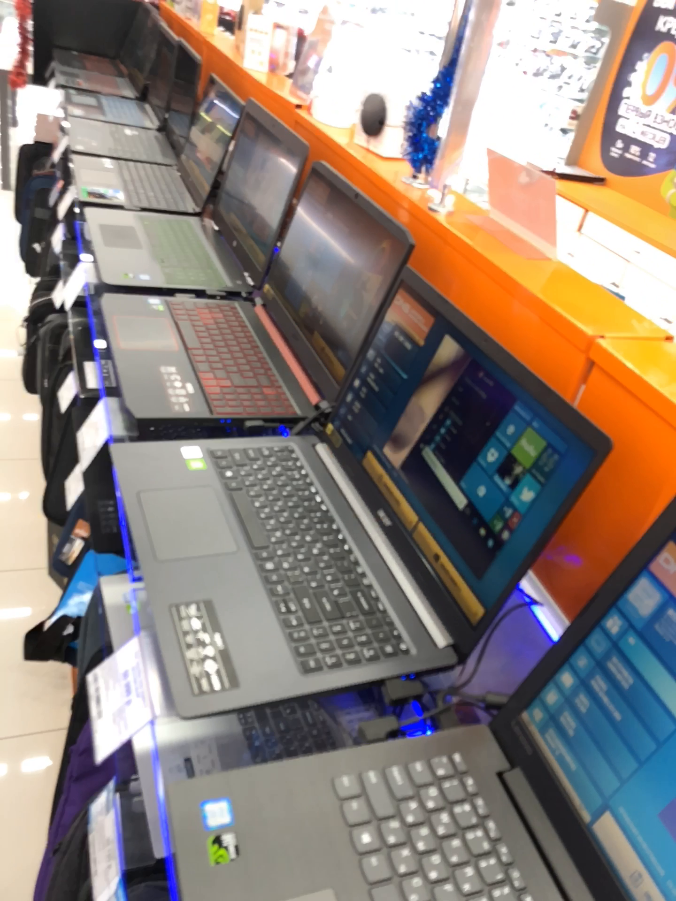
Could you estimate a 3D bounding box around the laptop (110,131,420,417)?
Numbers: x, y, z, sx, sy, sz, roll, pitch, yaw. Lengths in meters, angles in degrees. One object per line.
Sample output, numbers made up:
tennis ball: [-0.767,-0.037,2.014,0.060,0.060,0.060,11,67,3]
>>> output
laptop: [-0.118,-0.239,0.971,0.301,0.230,0.310,-4,37,-26]

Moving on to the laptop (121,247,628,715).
laptop: [-0.010,-0.004,0.671,0.303,0.224,0.354,-2,35,-25]

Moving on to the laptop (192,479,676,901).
laptop: [0.126,0.224,0.348,0.322,0.230,0.350,-2,35,-22]
